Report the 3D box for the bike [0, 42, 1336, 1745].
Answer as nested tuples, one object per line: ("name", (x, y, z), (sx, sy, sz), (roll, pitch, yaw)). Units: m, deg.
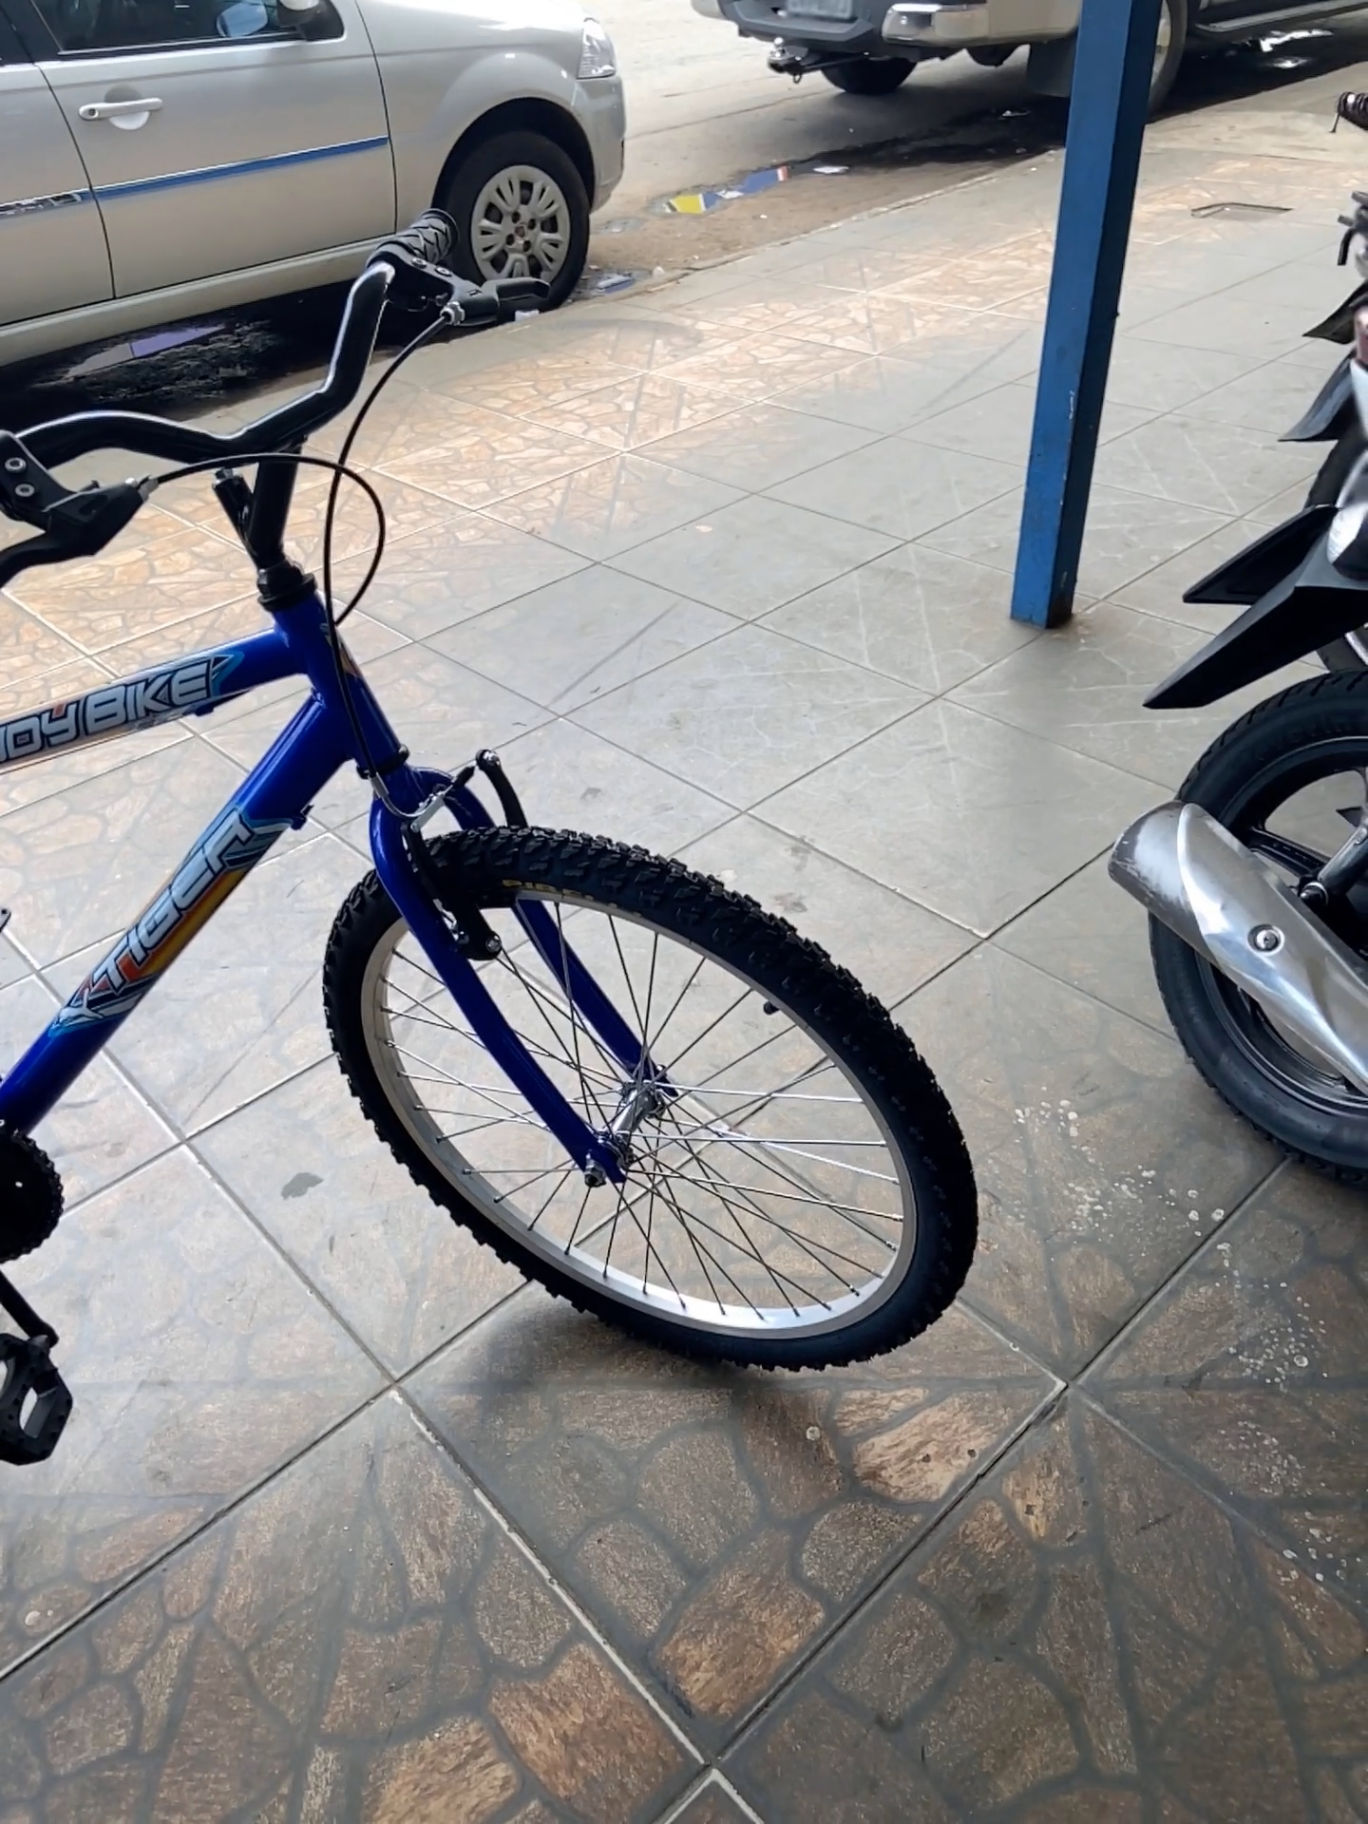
("bike", (-0.552, 0.073, 1.018), (1.486, 0.923, 0.626), (-5, 39, 5))
